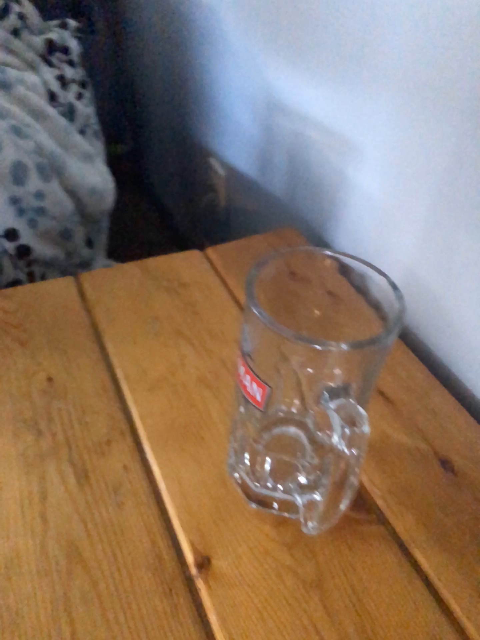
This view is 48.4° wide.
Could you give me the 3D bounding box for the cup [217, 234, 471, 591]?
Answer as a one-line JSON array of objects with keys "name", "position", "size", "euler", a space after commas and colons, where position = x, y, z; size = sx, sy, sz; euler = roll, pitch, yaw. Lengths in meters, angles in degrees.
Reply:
[{"name": "cup", "position": [0.049, 0.071, 0.400], "size": [0.110, 0.209, 0.161], "euler": [-3, 43, -8]}]
